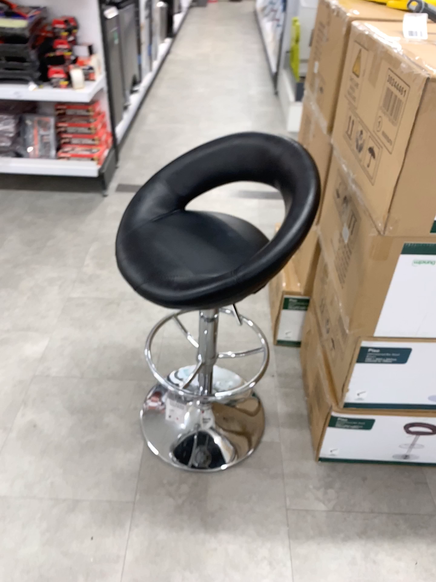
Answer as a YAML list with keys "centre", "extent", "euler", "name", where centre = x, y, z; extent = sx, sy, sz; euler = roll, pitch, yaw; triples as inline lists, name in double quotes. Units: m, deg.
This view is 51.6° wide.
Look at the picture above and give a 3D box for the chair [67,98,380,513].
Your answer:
- centre: [-0.039, 0.053, 1.245]
  extent: [0.483, 0.933, 0.513]
  euler: [-16, 43, -22]
  name: "chair"
